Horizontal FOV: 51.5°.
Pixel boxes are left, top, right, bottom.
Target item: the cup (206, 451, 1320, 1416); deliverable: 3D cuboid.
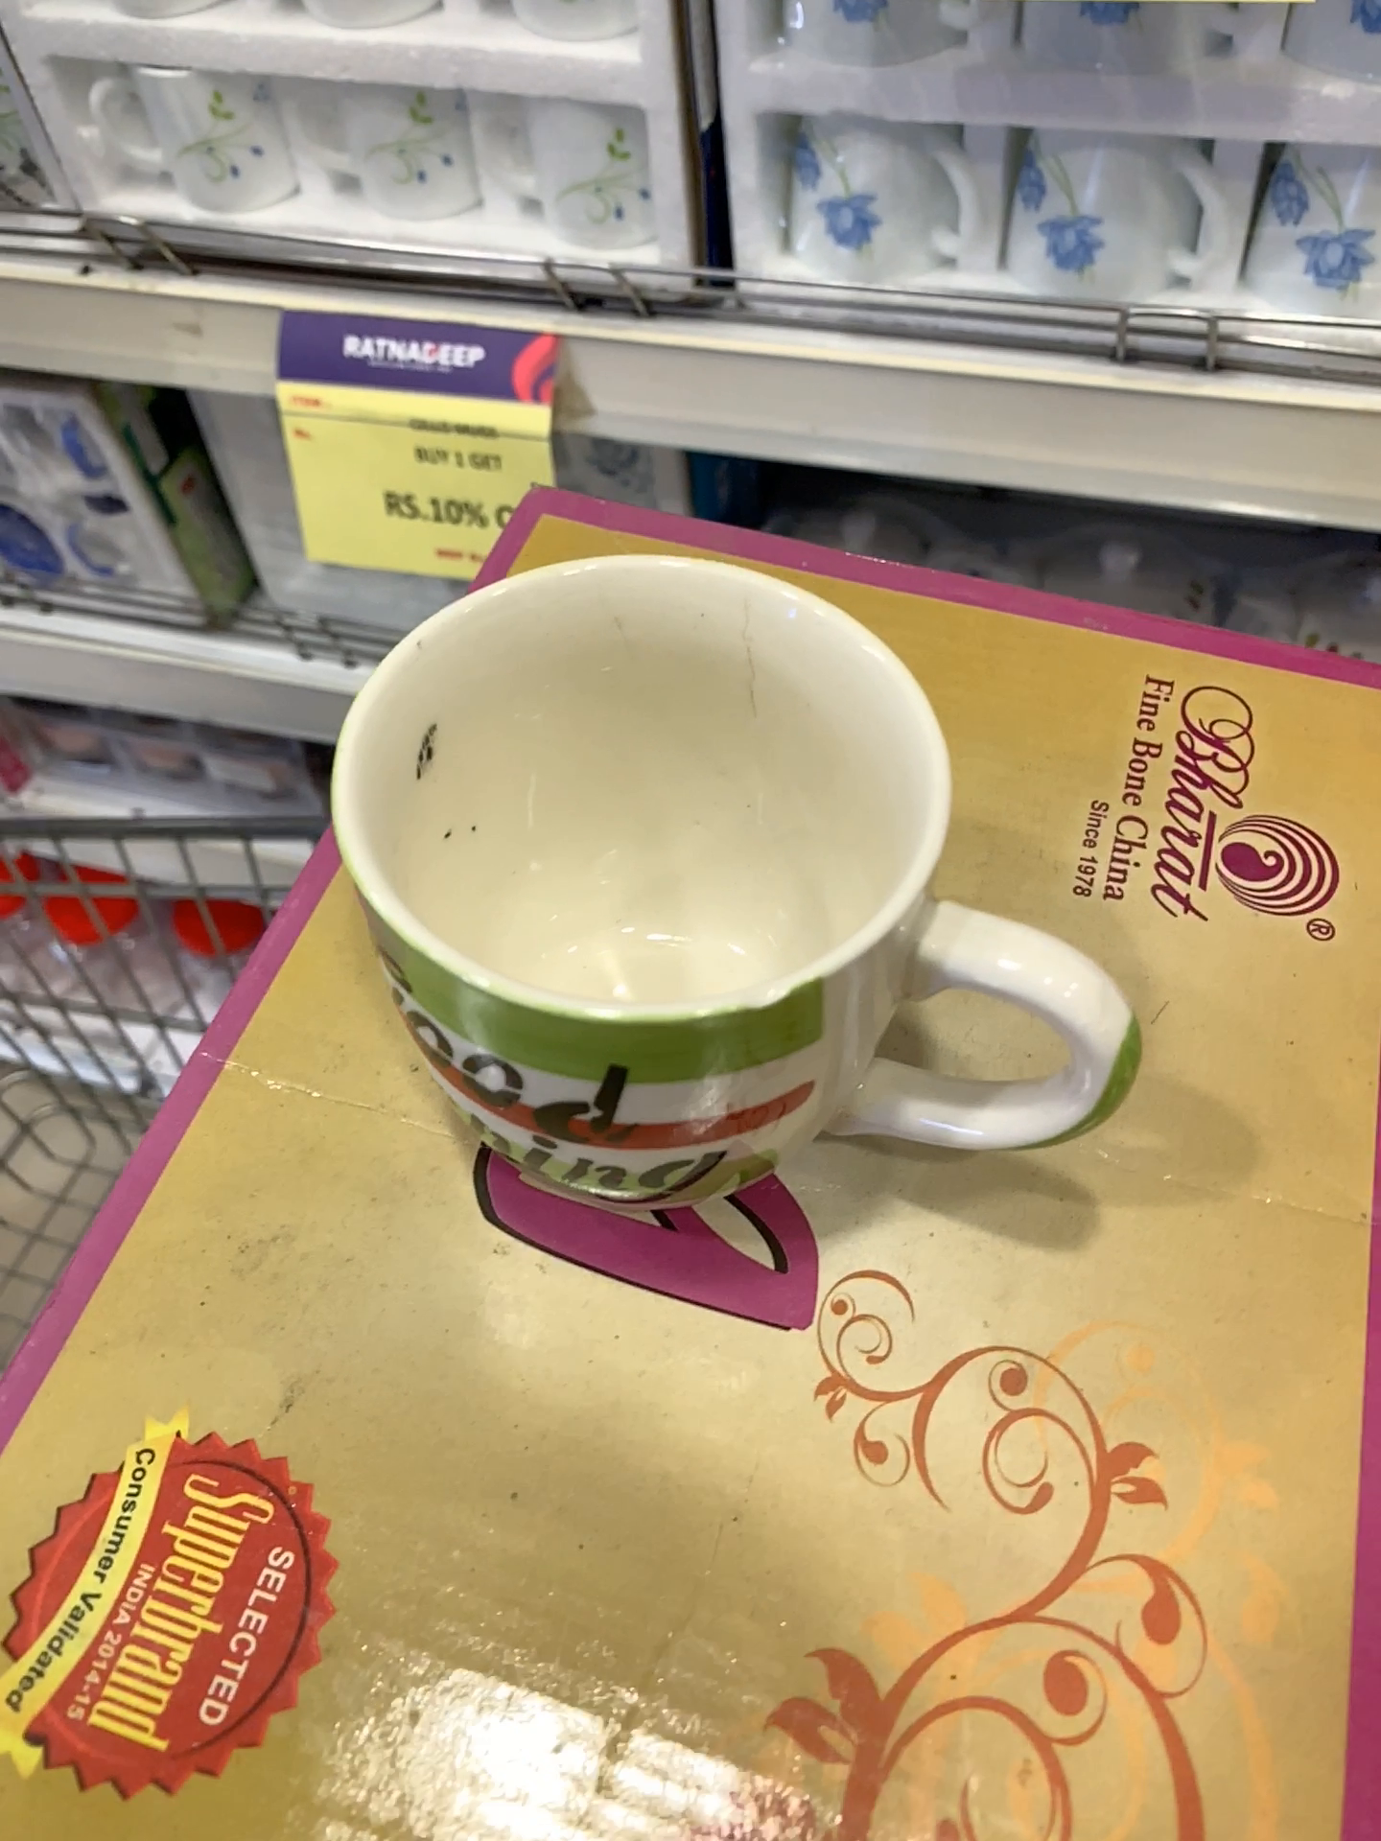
[{"bbox_3d":[0.012,-0.003,0.194,0.110,0.060,0.080,20,53,16],"label":"cup"}]
